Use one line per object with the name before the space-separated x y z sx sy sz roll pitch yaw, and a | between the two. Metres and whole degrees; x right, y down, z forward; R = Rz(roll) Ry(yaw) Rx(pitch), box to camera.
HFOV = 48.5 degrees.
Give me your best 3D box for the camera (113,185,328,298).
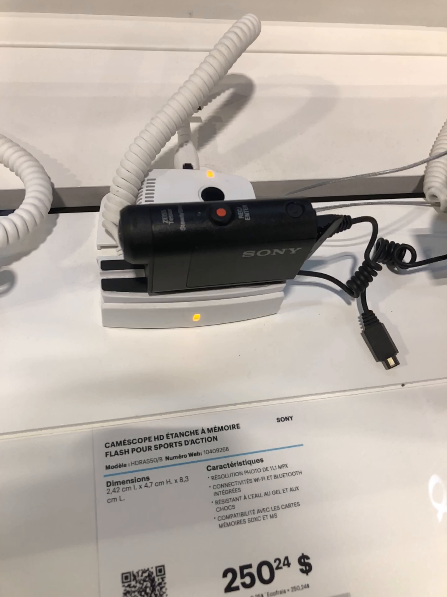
camera | -0.004 -0.023 0.207 0.080 0.045 0.020 -4 61 -11
